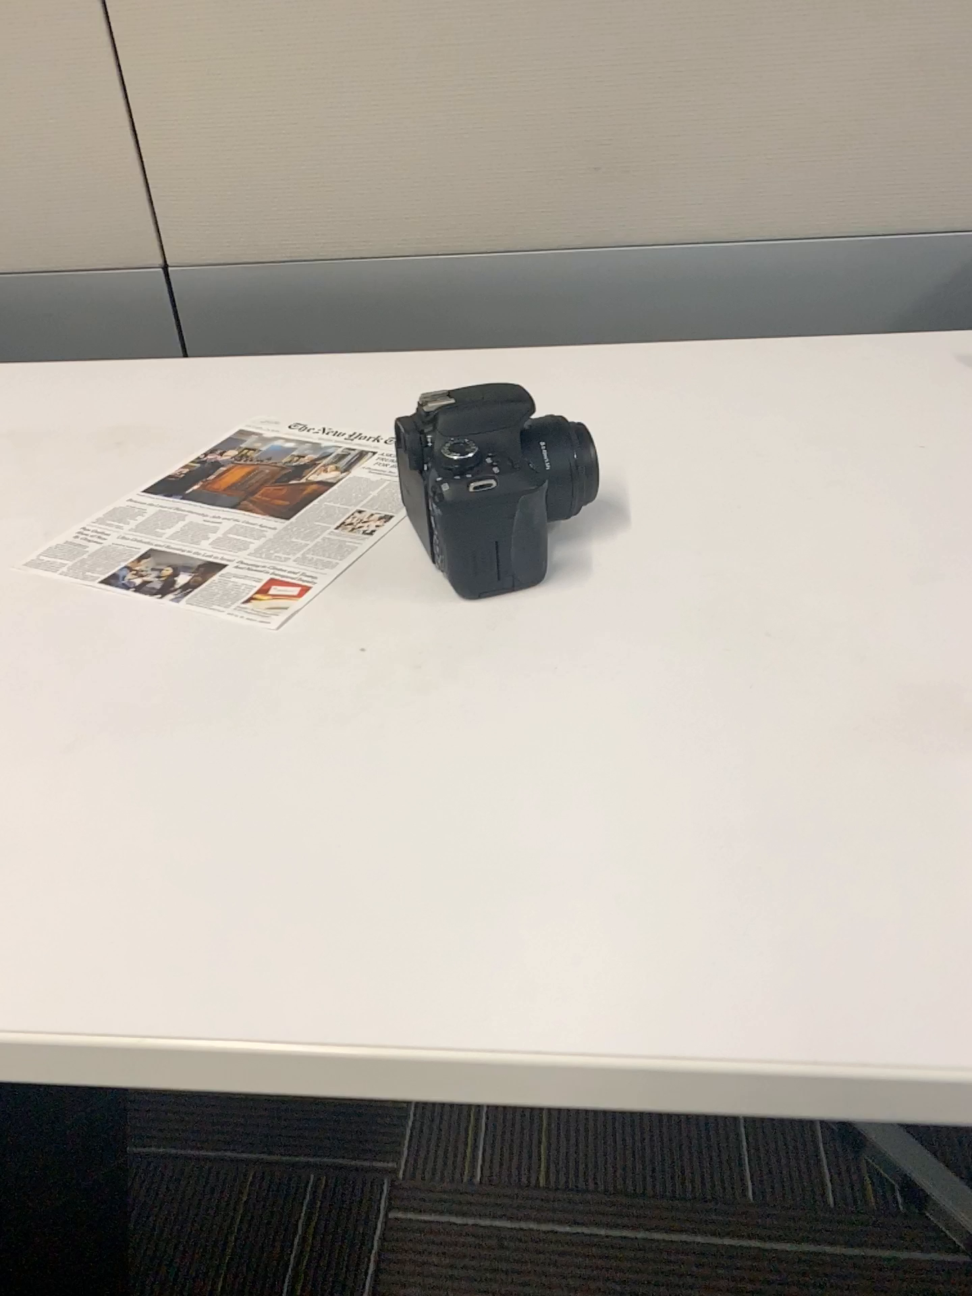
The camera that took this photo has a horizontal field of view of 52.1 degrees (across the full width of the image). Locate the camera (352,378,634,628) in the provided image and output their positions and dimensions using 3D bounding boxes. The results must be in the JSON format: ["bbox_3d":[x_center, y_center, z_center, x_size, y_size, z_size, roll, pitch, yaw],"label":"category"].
[{"bbox_3d":[0.001,-0.102,0.654,0.136,0.084,0.152,-14,35,-14],"label":"camera"}]
